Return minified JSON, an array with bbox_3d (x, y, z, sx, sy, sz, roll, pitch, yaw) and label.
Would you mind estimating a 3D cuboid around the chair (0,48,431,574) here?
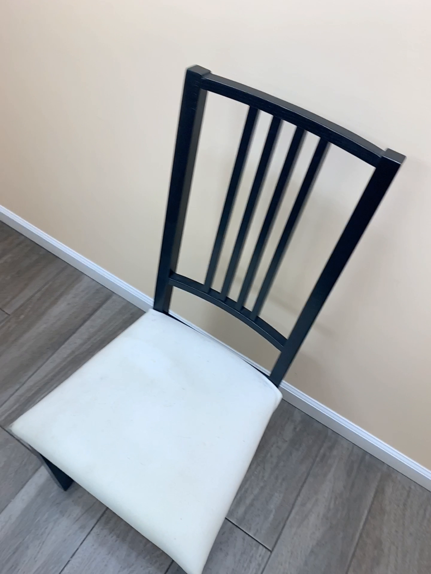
[{"bbox_3d":[-0.069,0.179,0.874,0.439,0.963,0.499,30,55,14],"label":"chair"}]
